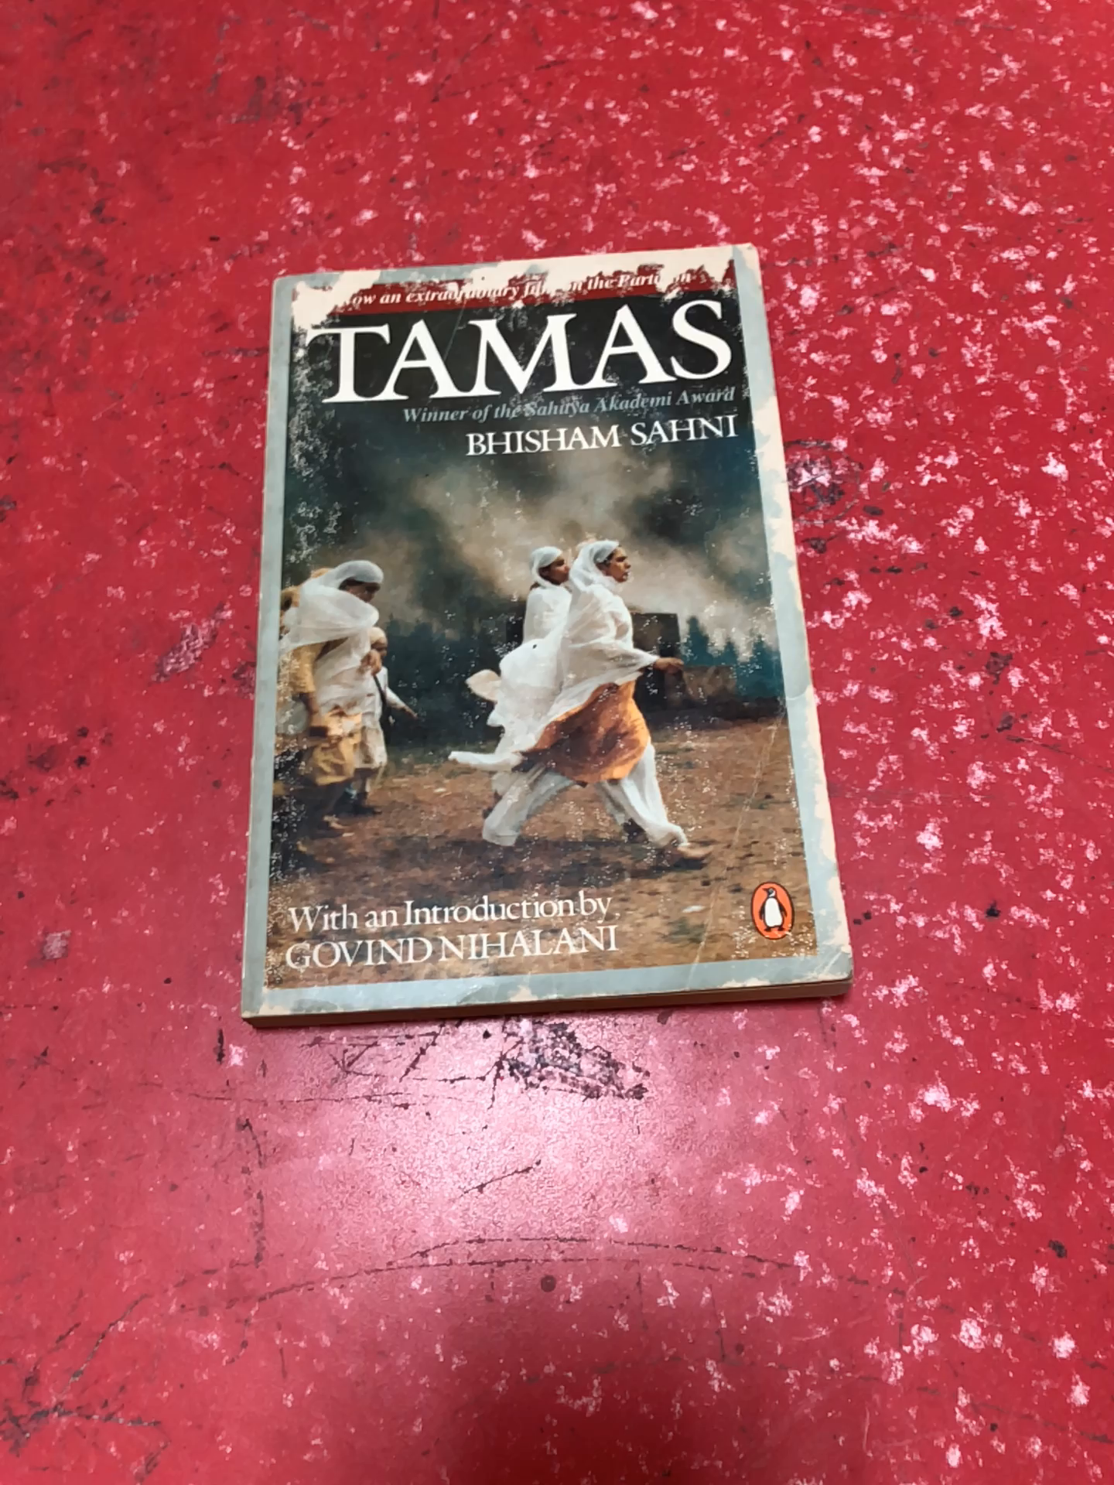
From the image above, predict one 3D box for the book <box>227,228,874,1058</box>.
[{"bbox_3d":[-0.006,-0.032,0.296,0.130,0.020,0.200,-4,68,1],"label":"book"}]
